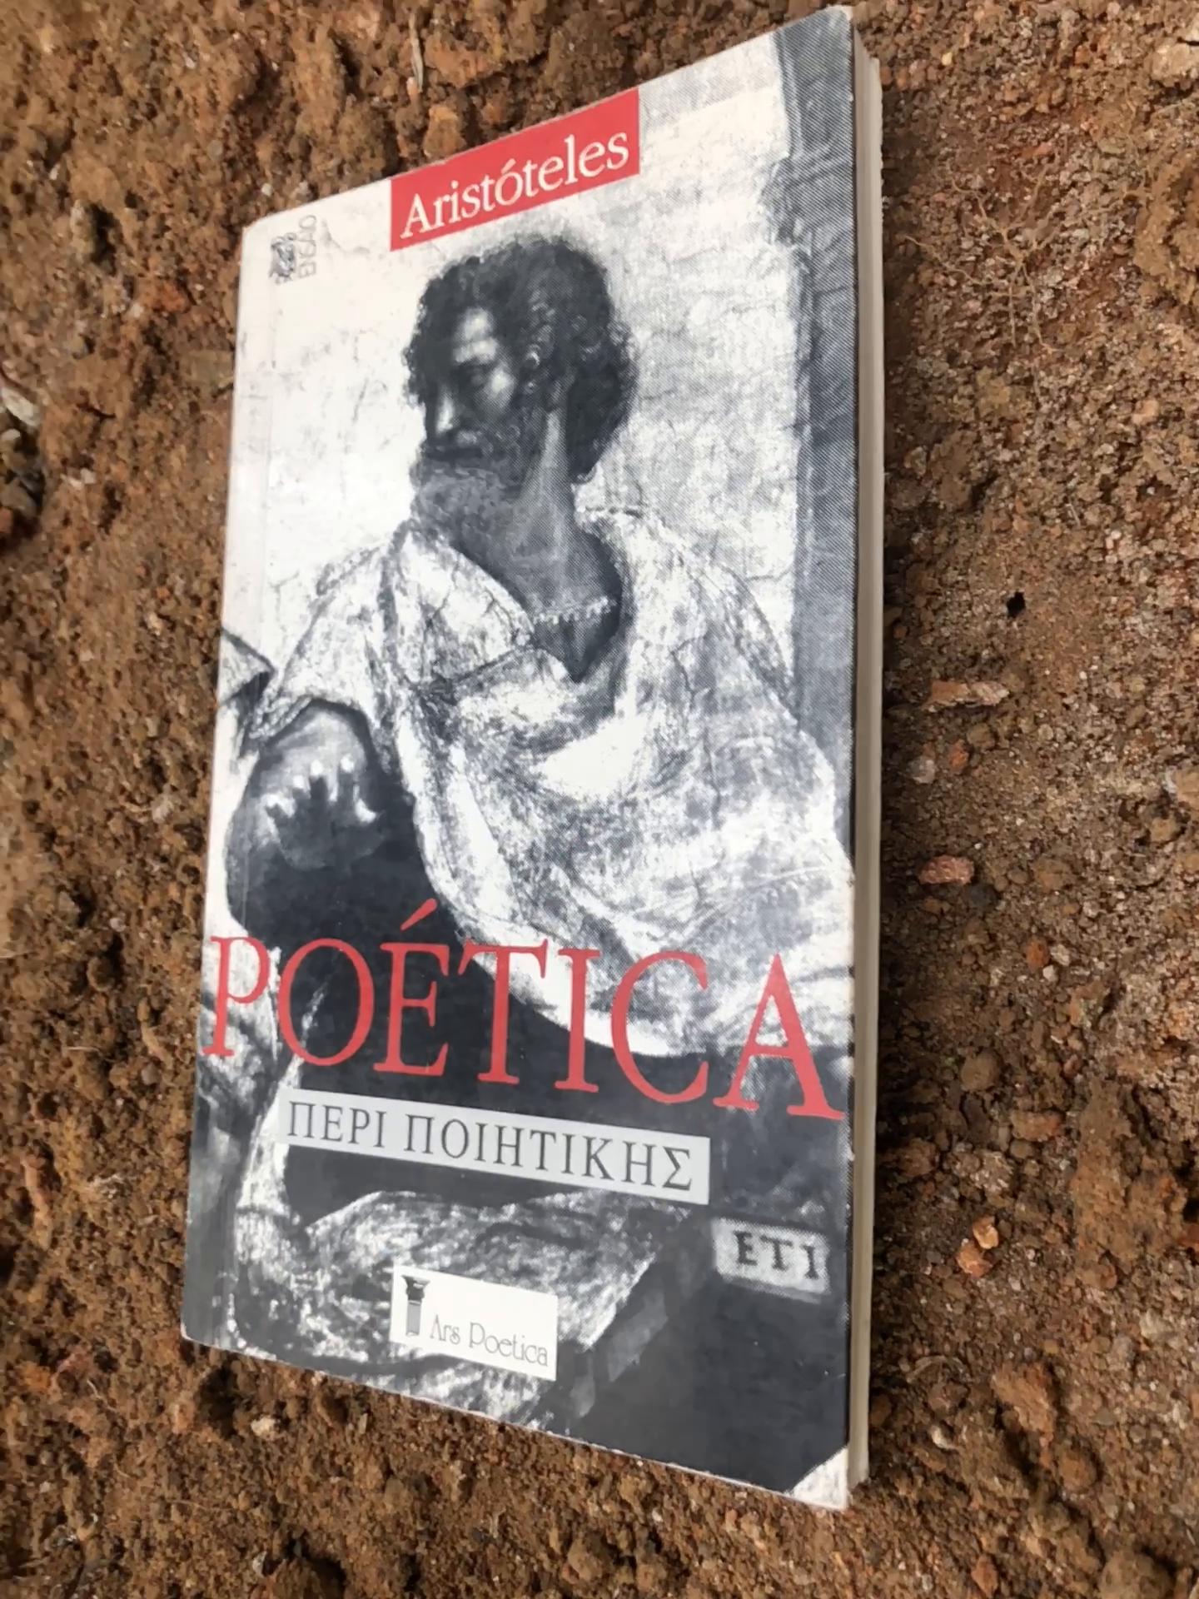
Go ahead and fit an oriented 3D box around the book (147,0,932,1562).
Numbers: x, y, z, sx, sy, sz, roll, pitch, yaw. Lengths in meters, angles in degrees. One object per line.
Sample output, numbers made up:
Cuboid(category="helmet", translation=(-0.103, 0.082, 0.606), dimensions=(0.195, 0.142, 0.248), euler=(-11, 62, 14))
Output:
Cuboid(category="book", translation=(-0.016, -0.006, 0.202), dimensions=(0.130, 0.015, 0.189), euler=(-2, 84, 34))
